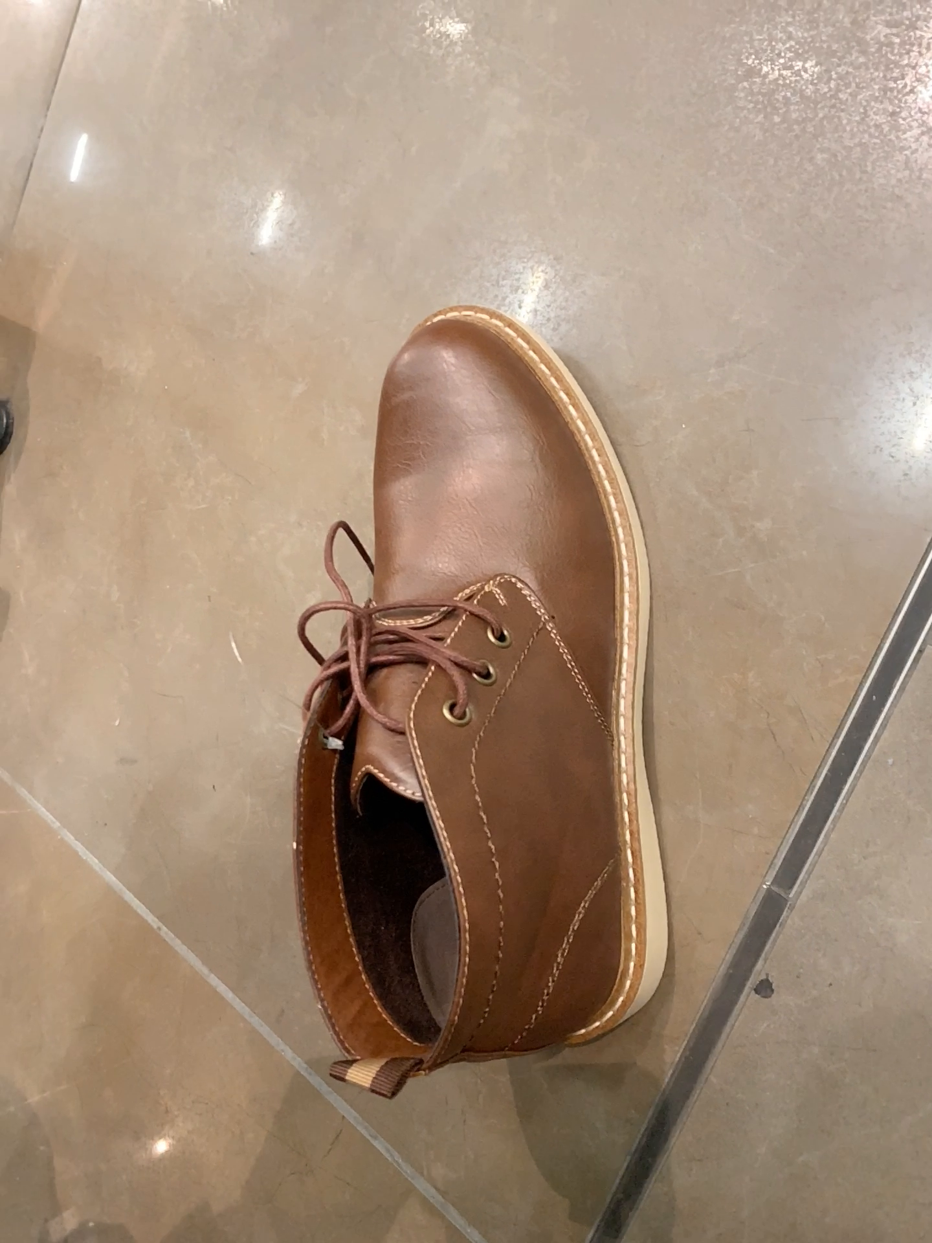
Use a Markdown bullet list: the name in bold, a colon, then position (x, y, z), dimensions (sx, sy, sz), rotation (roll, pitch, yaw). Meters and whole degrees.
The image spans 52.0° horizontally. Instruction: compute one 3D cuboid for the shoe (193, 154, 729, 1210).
- **shoe**: position (-0.002, 0.017, 0.342), dimensions (0.107, 0.120, 0.295), rotation (-13, 79, 32)
